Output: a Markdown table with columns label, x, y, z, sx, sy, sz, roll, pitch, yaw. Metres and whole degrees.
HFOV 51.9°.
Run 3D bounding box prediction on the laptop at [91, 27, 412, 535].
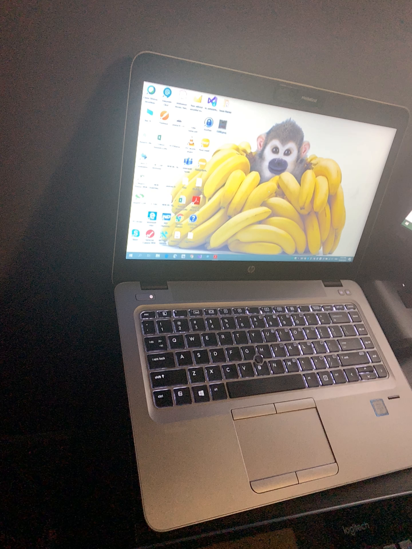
| label | x | y | z | sx | sy | sz | roll | pitch | yaw |
| --- | --- | --- | --- | --- | --- | --- | --- | --- | --- |
| laptop | 0.082 | -0.010 | 0.392 | 0.318 | 0.191 | 0.326 | -1 | 54 | -24 |
